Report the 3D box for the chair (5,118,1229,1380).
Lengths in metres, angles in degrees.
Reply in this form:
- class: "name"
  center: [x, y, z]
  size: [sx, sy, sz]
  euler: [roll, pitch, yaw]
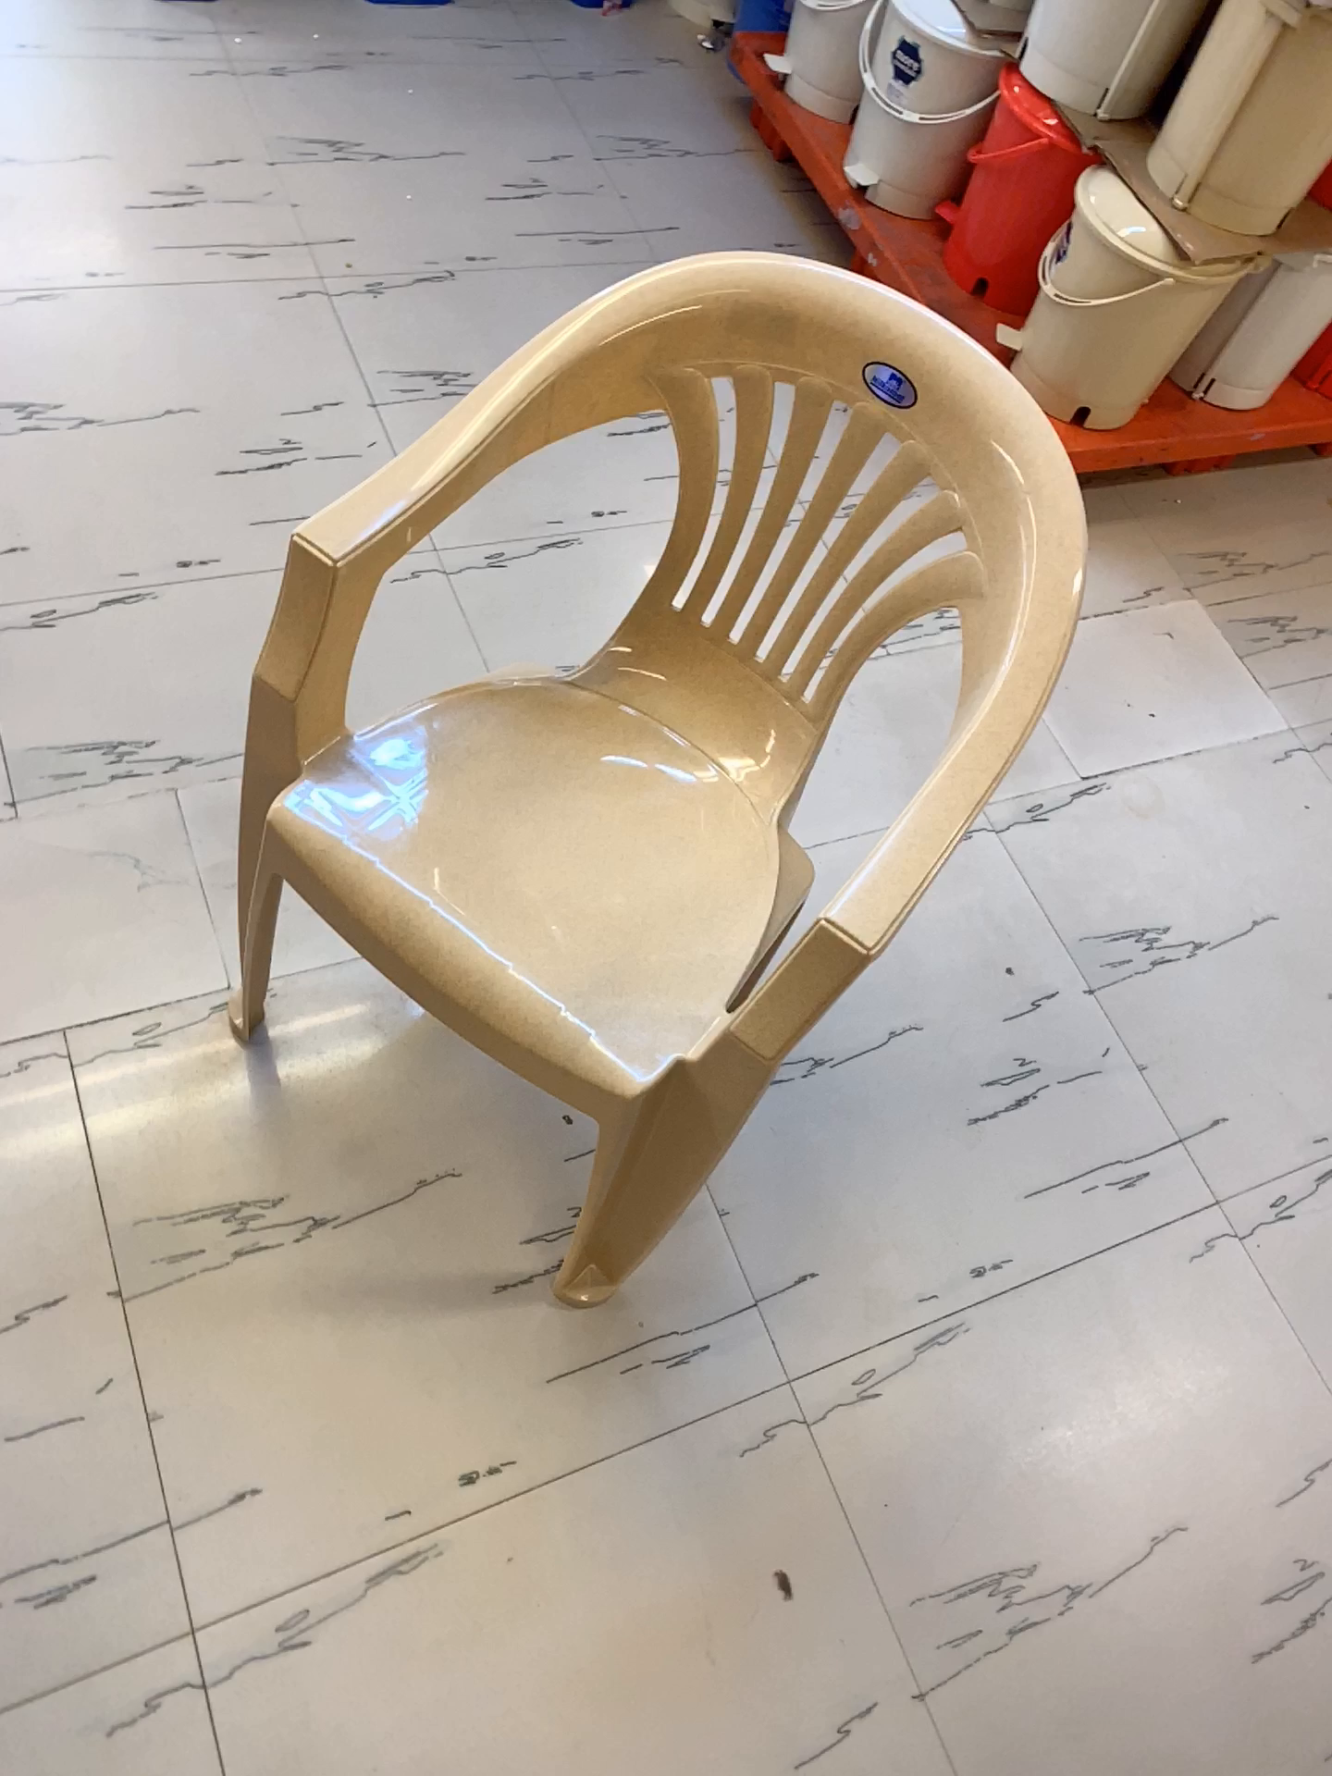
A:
- class: "chair"
  center: [-0.062, -0.086, 1.217]
  size: [0.570, 0.746, 0.633]
  euler: [38, 56, 10]
